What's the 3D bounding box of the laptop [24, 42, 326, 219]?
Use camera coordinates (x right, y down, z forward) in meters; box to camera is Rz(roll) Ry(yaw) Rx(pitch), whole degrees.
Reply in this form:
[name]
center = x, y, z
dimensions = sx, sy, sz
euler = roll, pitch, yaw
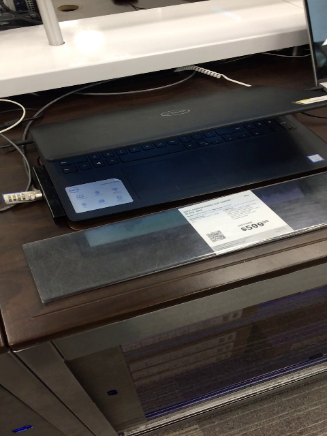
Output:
[laptop]
center = 0.034, -0.142, 0.643
dimensions = 0.422, 0.082, 0.209
euler = -14, 52, -7
